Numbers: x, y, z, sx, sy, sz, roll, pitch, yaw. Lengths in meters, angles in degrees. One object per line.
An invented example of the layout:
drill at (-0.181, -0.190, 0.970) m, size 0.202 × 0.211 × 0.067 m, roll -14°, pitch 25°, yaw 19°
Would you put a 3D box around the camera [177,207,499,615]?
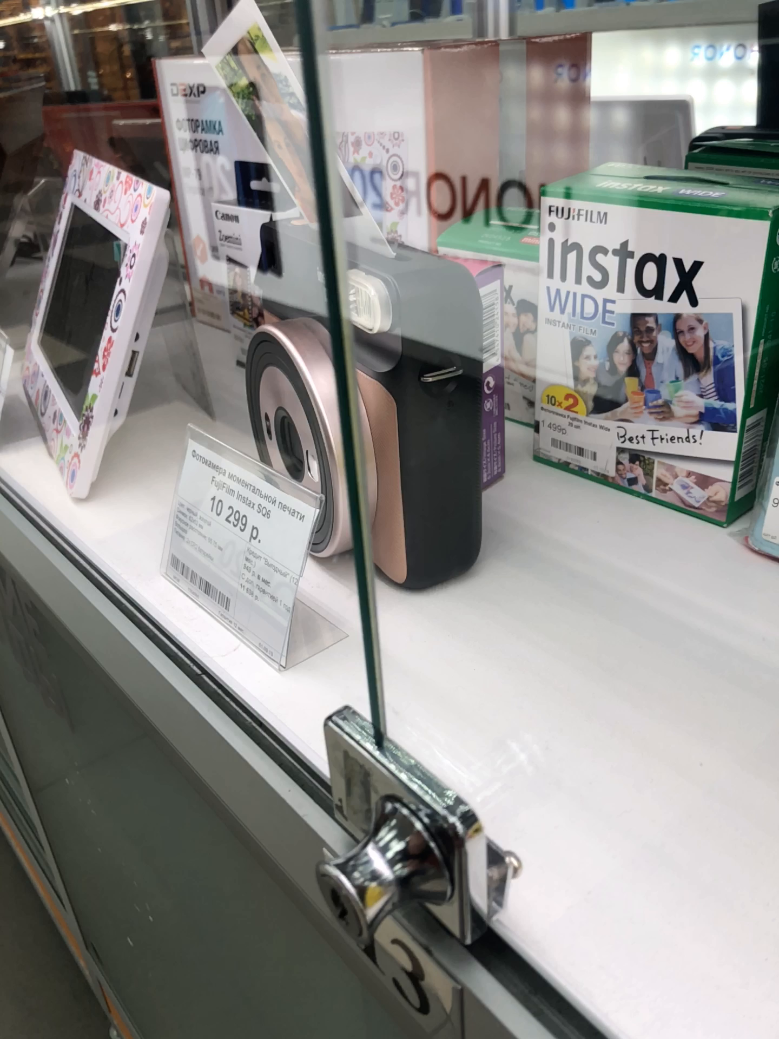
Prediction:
camera at (-0.023, -0.051, 0.327) m, size 0.060 × 0.104 × 0.141 m, roll -17°, pitch 31°, yaw -21°
